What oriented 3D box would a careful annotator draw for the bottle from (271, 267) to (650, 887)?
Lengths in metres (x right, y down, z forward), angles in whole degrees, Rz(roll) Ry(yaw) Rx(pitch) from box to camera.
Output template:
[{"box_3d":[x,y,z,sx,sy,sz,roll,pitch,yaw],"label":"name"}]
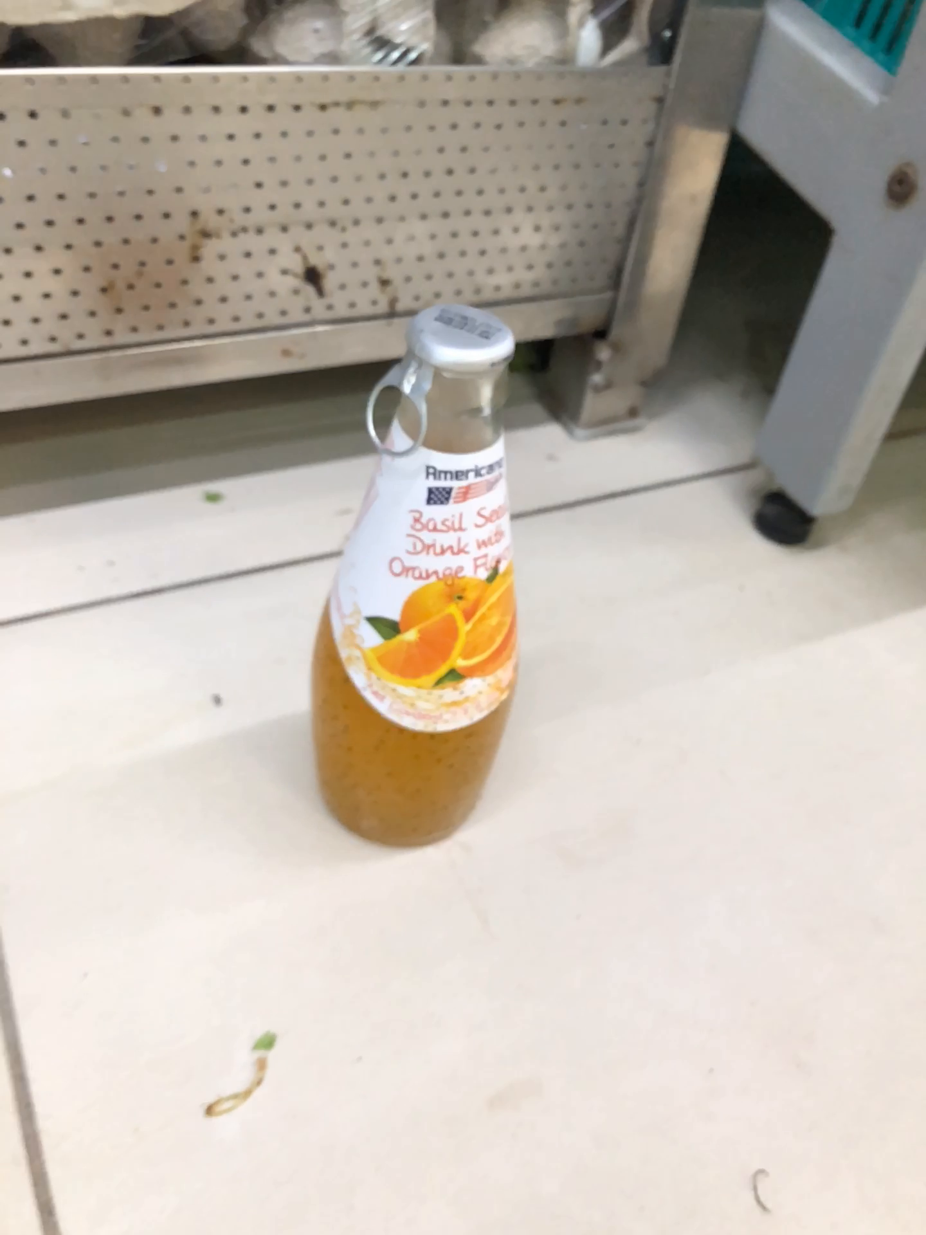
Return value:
[{"box_3d":[-0.011,-0.007,0.317,0.070,0.169,0.070,5,41,-4],"label":"bottle"}]
